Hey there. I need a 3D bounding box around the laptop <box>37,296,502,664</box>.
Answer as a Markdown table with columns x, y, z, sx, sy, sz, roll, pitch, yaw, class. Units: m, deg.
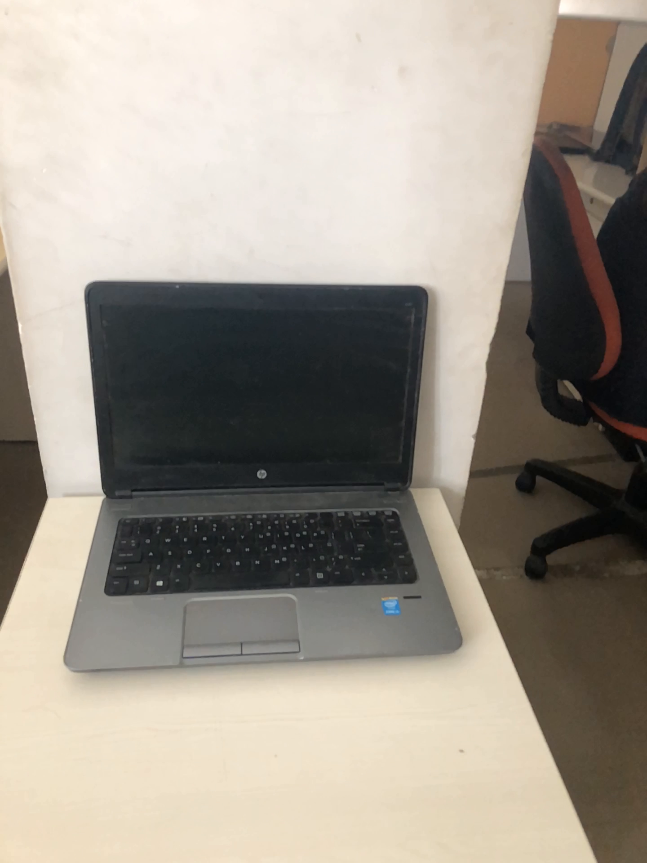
| x | y | z | sx | sy | sz | roll | pitch | yaw | class |
| --- | --- | --- | --- | --- | --- | --- | --- | --- | --- |
| -0.043 | 0.028 | 0.618 | 0.304 | 0.209 | 0.238 | 0 | 31 | -7 | laptop |
